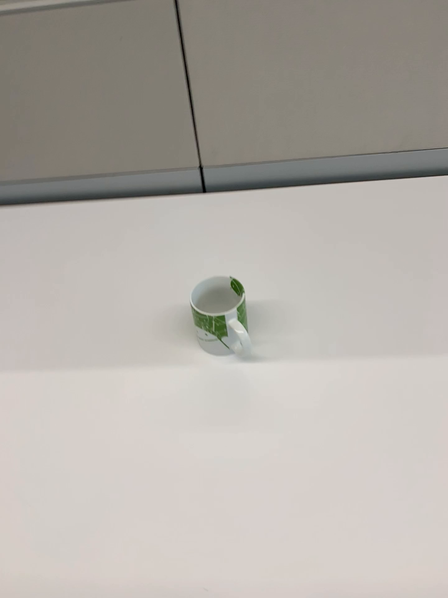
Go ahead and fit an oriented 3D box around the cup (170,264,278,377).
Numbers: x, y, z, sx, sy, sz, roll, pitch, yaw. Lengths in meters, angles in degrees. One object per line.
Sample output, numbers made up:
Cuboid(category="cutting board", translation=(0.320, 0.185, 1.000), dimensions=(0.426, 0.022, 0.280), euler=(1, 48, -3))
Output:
Cuboid(category="cup", translation=(0.003, 0.030, 0.694), dimensions=(0.131, 0.090, 0.090), euler=(30, 57, 31))
